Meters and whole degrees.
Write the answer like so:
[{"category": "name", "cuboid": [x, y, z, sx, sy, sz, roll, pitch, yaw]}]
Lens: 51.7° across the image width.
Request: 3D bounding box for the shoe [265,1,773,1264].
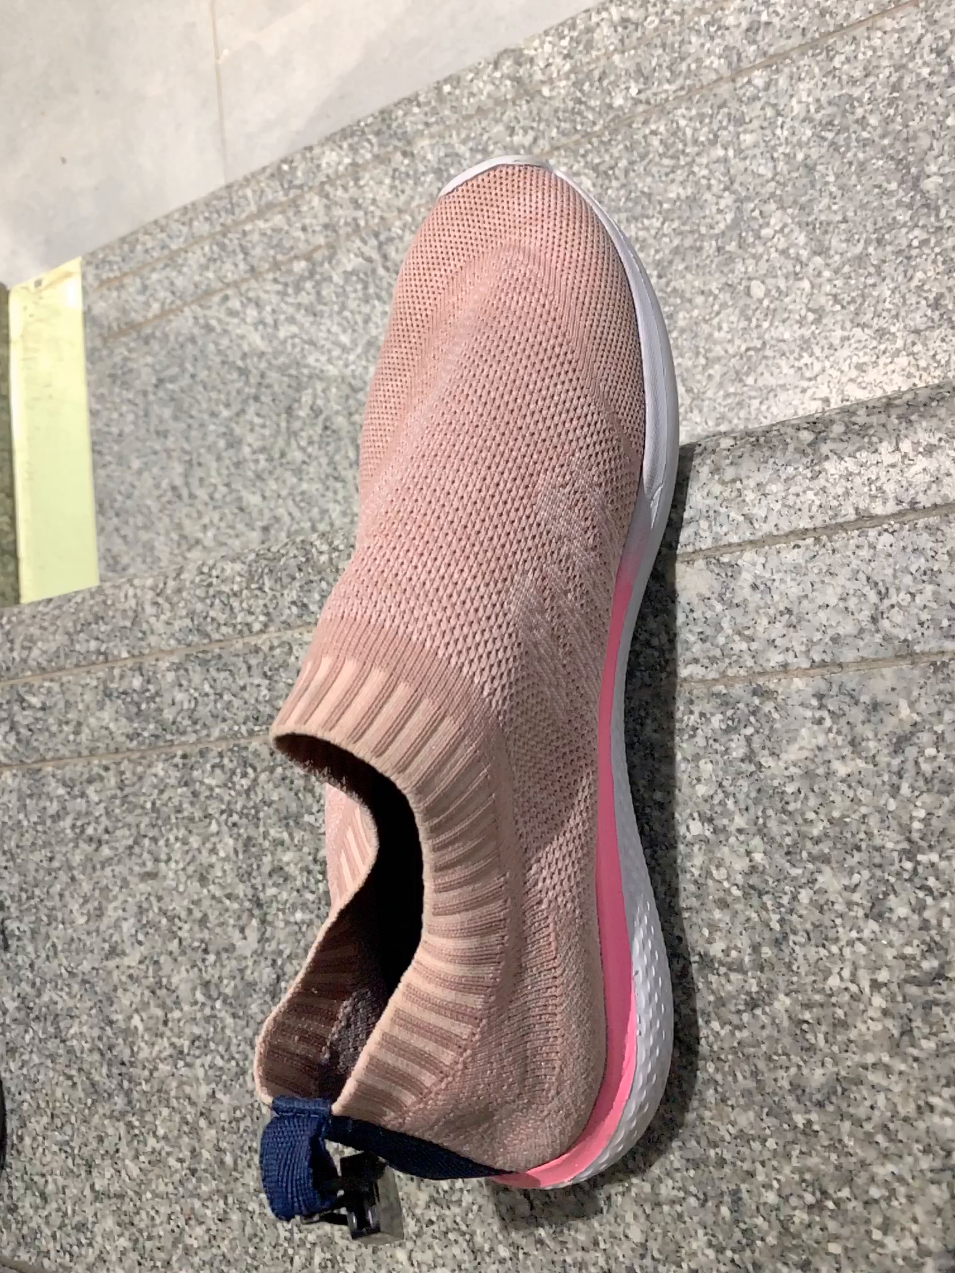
[{"category": "shoe", "cuboid": [0.011, -0.002, 0.254, 0.100, 0.080, 0.250, -4, 85, 30]}]
